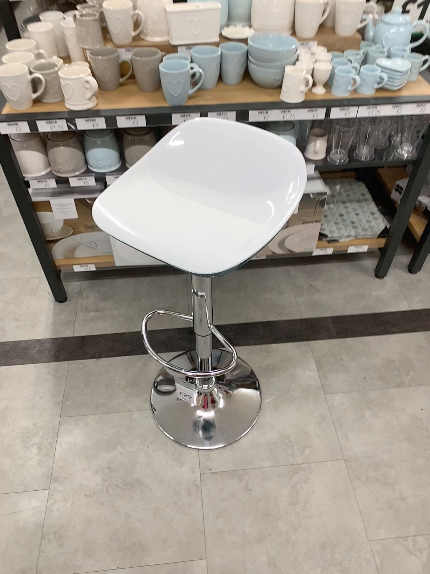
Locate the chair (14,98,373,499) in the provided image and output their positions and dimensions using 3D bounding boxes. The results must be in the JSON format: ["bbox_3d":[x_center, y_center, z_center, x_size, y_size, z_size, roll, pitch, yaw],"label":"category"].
[{"bbox_3d":[-0.021,0.052,1.111,0.503,0.776,0.472,24,51,21],"label":"chair"}]
